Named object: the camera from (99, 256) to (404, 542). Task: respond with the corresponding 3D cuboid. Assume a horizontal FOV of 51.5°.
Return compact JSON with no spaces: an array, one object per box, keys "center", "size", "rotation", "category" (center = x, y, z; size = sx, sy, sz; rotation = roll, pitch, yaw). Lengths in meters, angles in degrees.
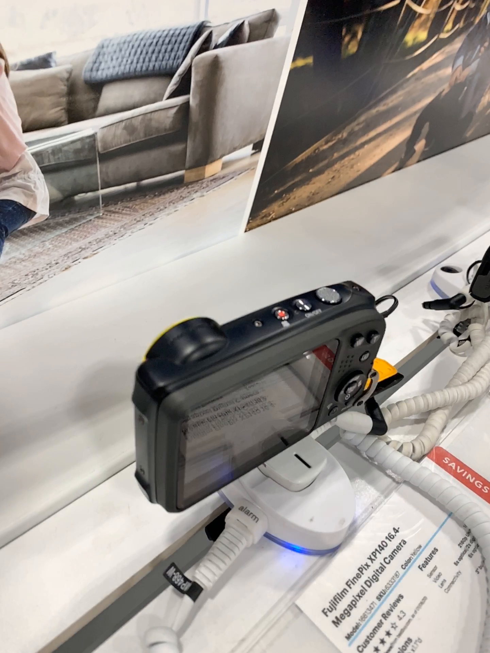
[{"center":[0.004,0.020,0.196],"size":[0.110,0.060,0.040],"rotation":[-23,47,-38],"category":"camera"}]
